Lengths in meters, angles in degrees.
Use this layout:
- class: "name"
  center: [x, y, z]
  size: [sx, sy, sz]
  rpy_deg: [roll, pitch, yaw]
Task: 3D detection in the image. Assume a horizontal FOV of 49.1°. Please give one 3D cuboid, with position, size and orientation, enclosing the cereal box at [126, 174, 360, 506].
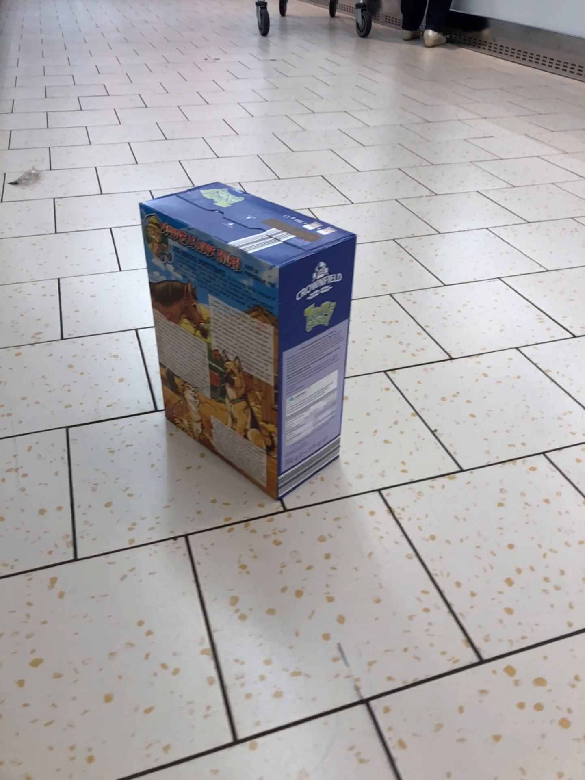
- class: "cereal box"
  center: [-0.051, -0.053, 0.643]
  size: [0.200, 0.258, 0.101]
  rpy_deg: [30, 44, 35]
